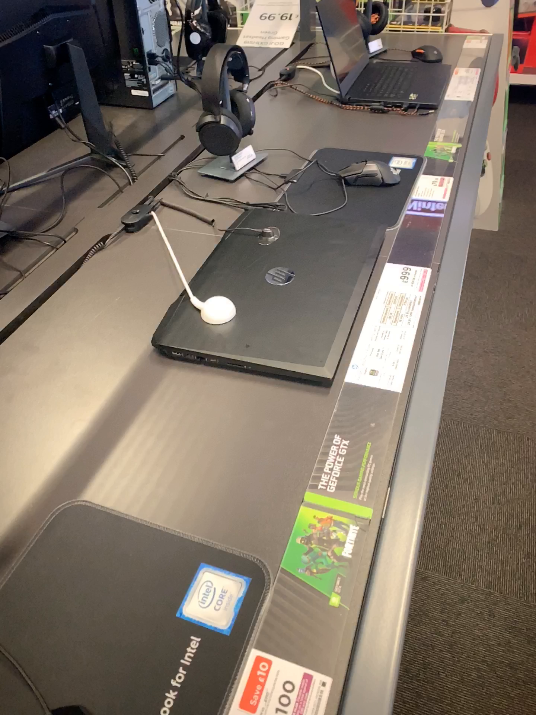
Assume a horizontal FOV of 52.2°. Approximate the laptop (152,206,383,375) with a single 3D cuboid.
[{"bbox_3d":[0.019,-0.133,0.877,0.256,0.001,0.397,11,46,16],"label":"laptop"}]
